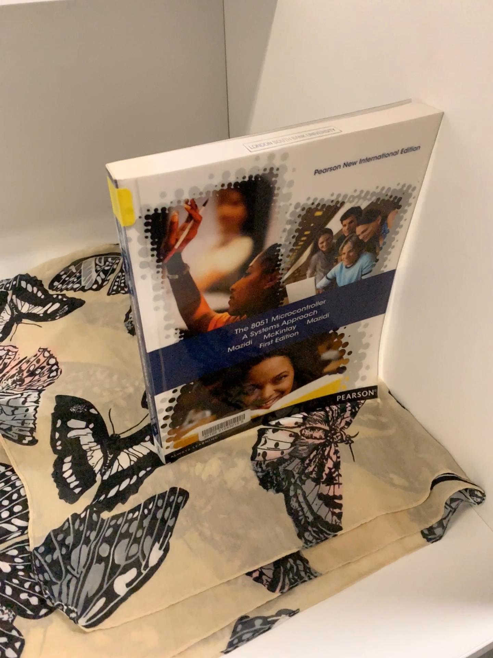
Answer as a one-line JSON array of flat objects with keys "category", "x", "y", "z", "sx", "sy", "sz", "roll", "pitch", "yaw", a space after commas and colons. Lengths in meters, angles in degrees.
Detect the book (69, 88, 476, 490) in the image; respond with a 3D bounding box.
[{"category": "book", "x": 0.019, "y": -0.014, "z": 0.357, "sx": 0.220, "sy": 0.248, "sz": 0.053, "roll": -20, "pitch": 49, "yaw": -20}]
